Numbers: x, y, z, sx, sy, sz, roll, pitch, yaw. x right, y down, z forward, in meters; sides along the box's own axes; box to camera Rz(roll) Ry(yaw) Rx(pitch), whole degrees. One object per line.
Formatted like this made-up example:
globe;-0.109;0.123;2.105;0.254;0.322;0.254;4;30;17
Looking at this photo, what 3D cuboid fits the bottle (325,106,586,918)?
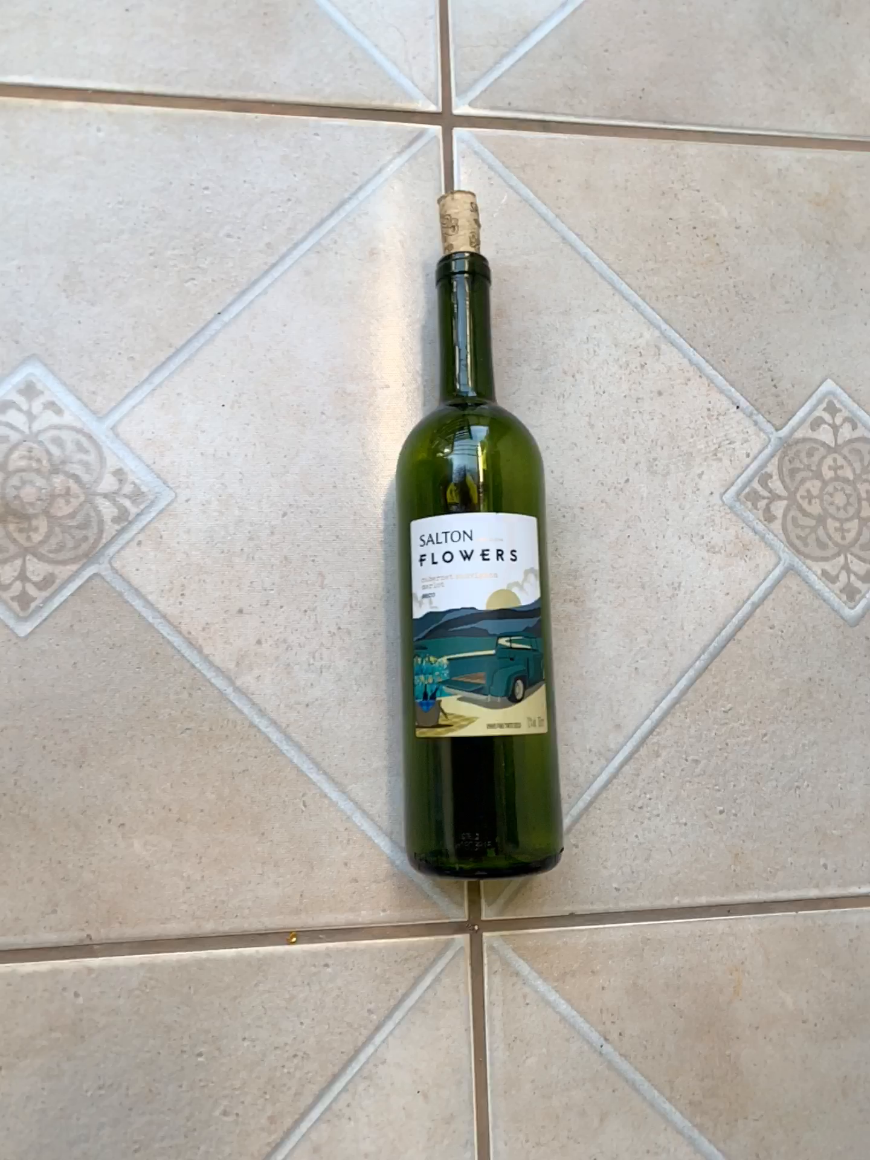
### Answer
bottle;0.006;-0.034;0.423;0.080;0.080;0.350;-5;84;-1
